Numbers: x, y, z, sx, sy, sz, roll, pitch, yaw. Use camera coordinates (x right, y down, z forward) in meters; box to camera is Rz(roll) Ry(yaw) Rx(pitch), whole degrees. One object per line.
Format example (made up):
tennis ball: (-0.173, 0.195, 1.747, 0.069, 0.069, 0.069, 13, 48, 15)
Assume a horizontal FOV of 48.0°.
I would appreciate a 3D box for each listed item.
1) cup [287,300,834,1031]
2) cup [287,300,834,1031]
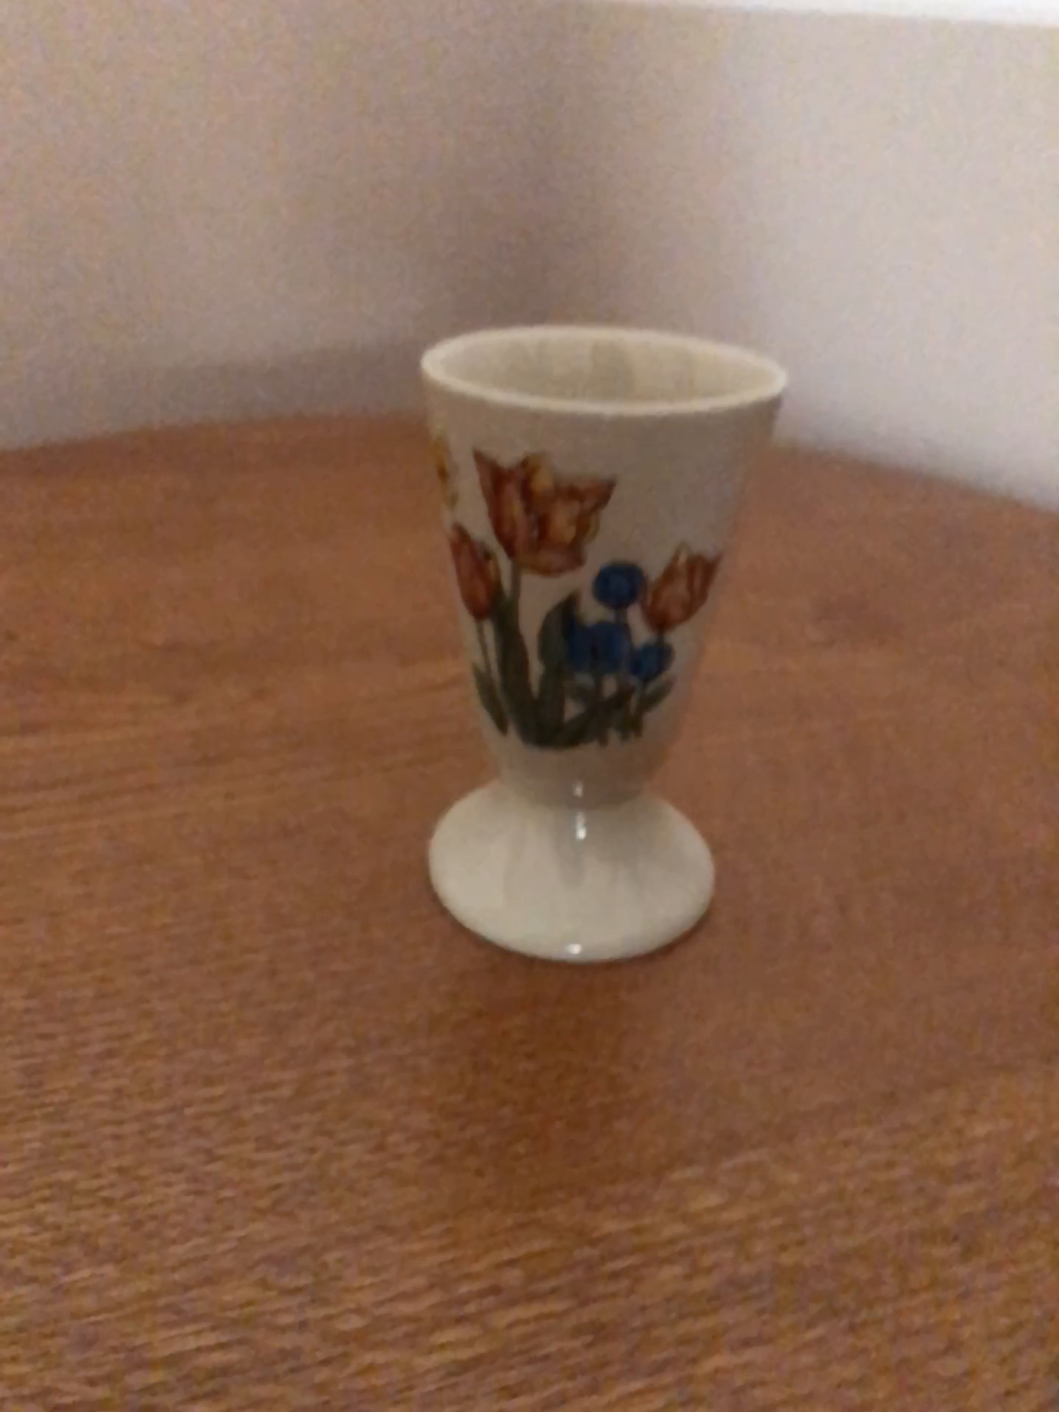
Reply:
cup: (0.007, -0.014, 0.255, 0.080, 0.119, 0.081, 3, 28, -2)
cup: (0.007, -0.014, 0.255, 0.080, 0.119, 0.081, 3, 28, -2)
